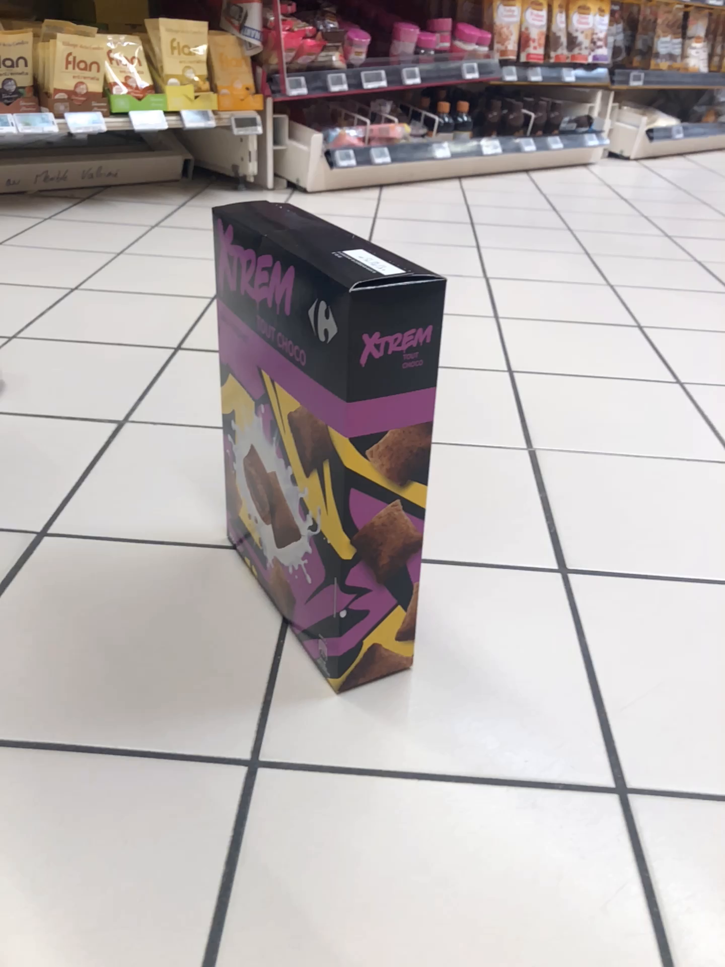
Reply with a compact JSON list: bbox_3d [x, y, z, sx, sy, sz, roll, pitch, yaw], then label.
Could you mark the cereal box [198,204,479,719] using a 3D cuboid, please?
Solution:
[{"bbox_3d":[-0.030,-0.024,0.483,0.070,0.239,0.201,-12,32,-25],"label":"cereal box"}]
